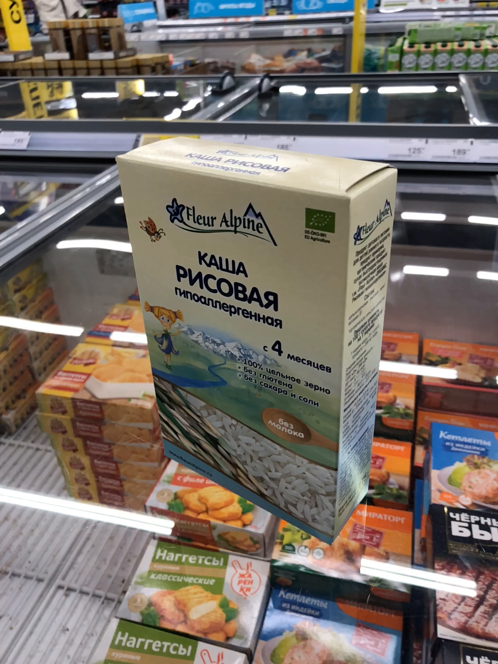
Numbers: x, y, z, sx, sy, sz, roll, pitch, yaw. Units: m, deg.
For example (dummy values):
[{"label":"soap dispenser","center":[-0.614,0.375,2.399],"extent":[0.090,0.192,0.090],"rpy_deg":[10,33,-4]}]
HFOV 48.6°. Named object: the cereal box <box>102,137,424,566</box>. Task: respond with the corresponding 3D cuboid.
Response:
[{"label":"cereal box","center":[0.006,0.009,0.297],"extent":[0.140,0.199,0.050],"rpy_deg":[19,37,32]}]
